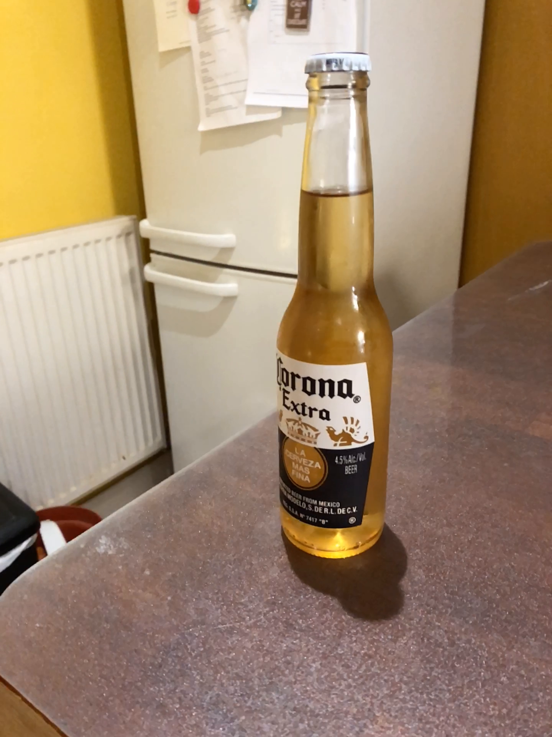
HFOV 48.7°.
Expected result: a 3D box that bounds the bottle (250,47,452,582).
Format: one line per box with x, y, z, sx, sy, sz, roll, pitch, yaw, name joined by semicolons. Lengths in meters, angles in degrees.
0.035;-0.020;0.299;0.060;0.238;0.060;-2;23;1;bottle
